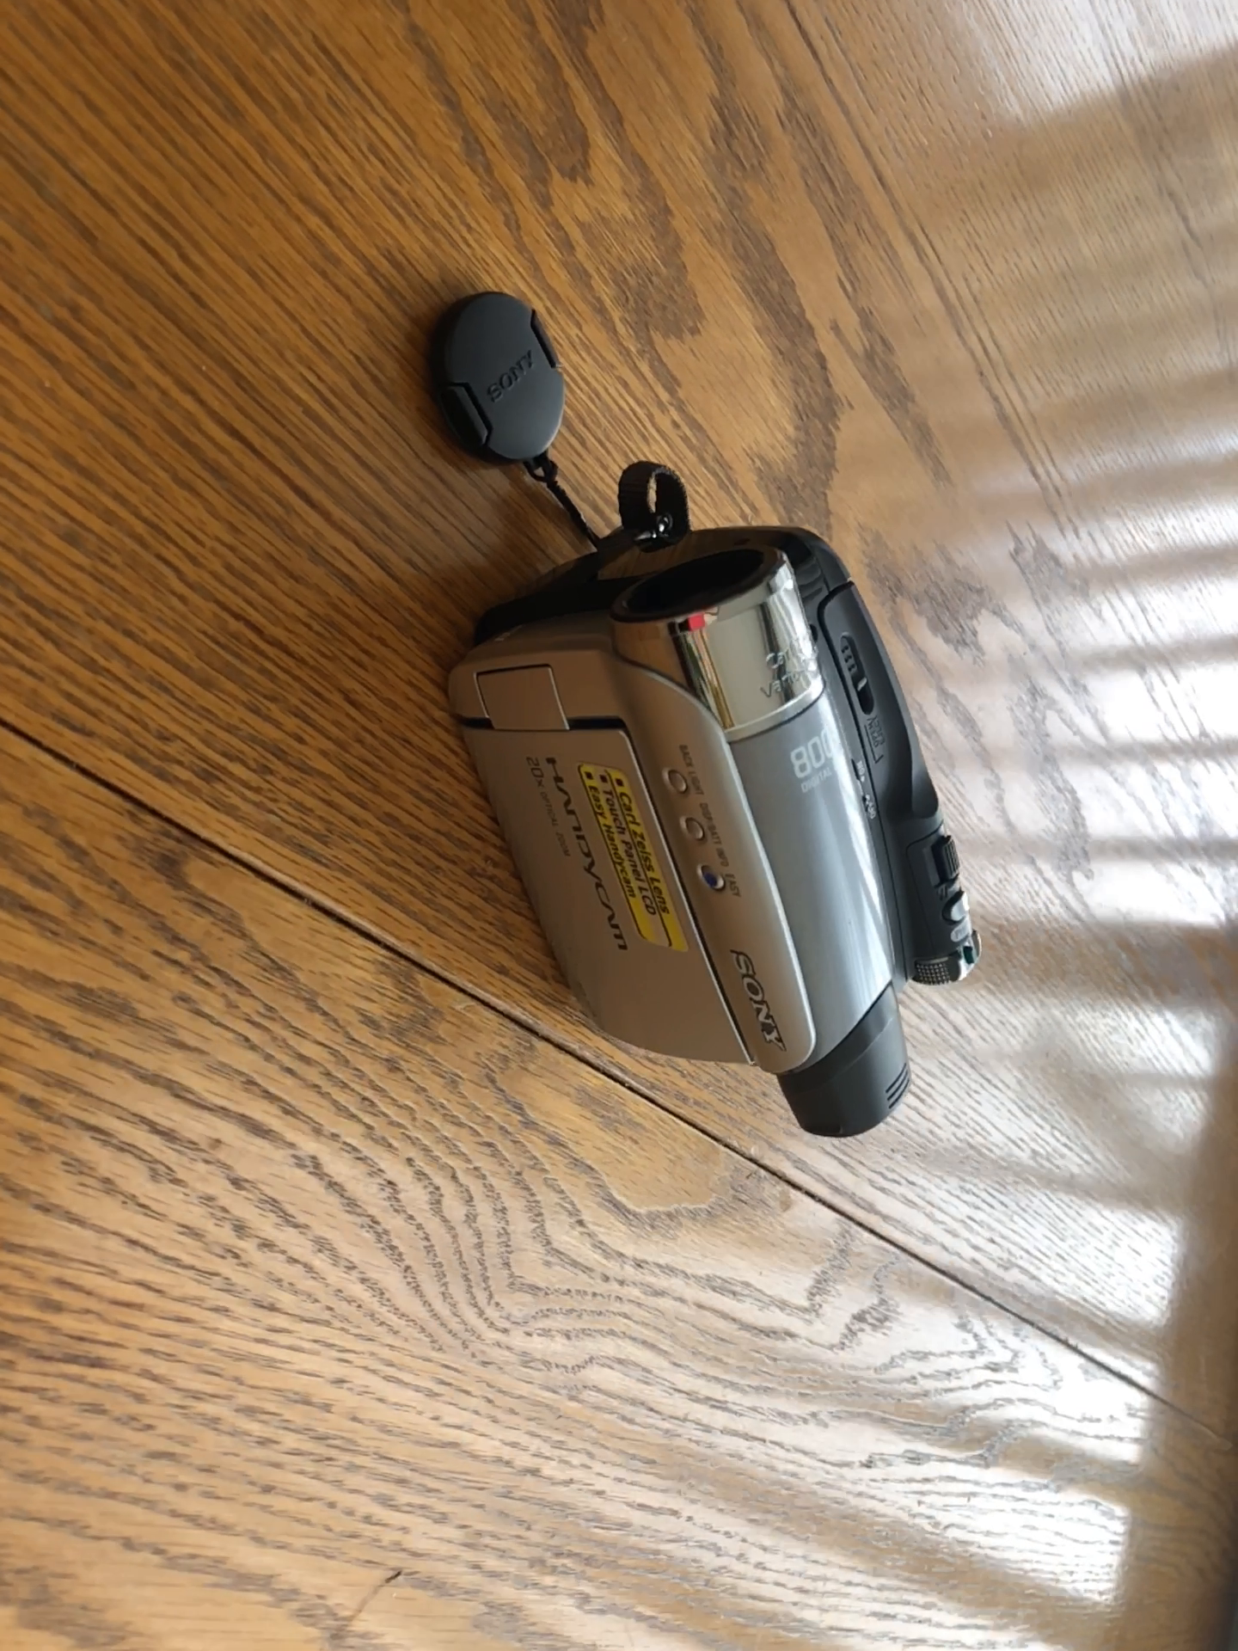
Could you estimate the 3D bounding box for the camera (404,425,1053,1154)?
[{"bbox_3d":[0.028,-0.008,0.280,0.080,0.072,0.111,-43,123,-39],"label":"camera"}]
